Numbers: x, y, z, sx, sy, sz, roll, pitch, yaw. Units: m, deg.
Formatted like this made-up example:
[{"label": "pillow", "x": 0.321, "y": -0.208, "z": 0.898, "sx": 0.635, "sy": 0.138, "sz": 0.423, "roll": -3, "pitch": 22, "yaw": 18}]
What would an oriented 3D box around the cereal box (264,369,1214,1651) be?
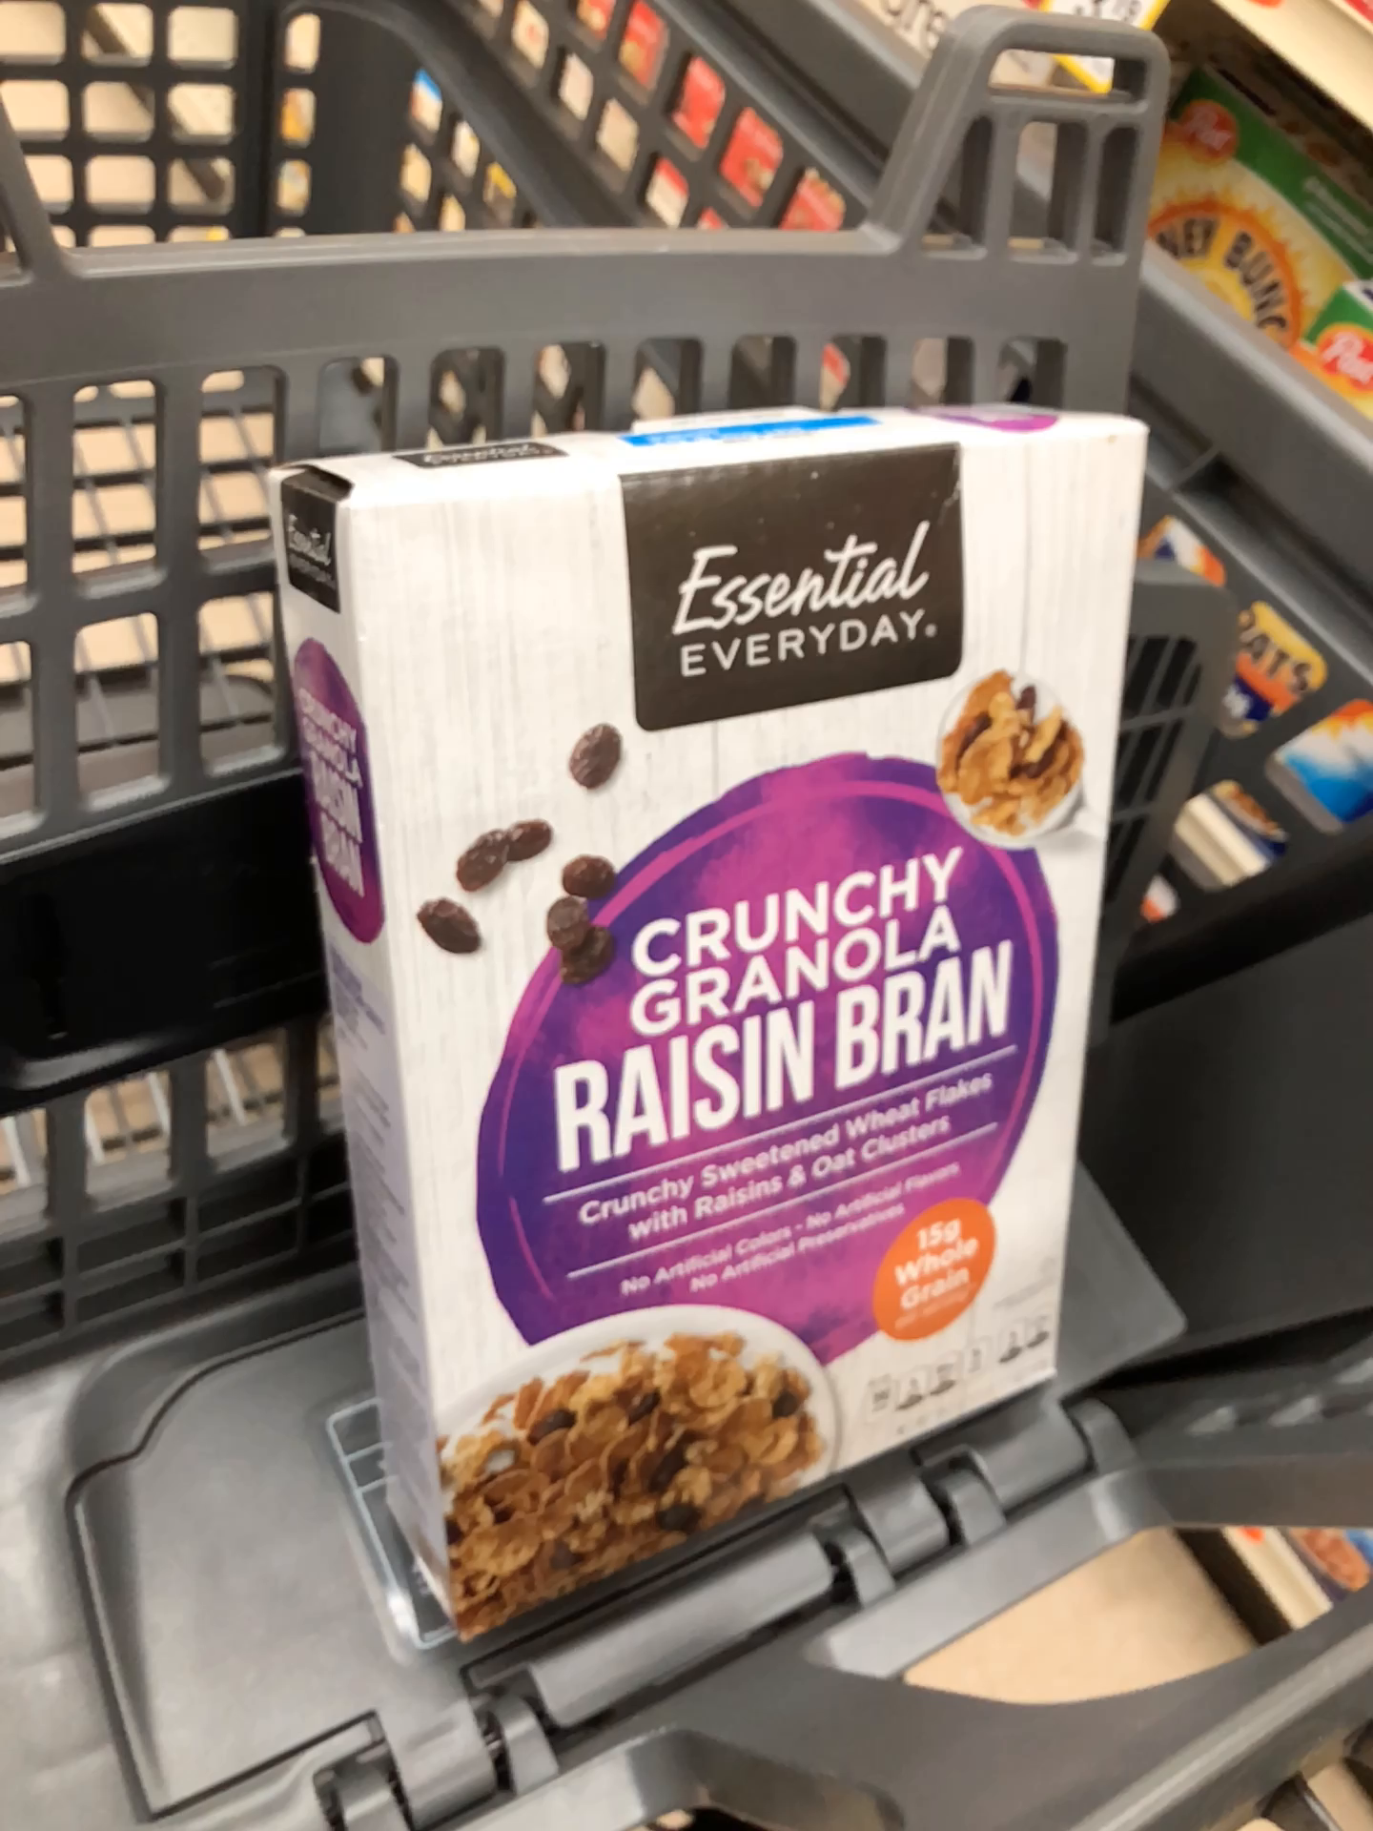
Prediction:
[{"label": "cereal box", "x": 0.019, "y": 0.016, "z": 0.388, "sx": 0.200, "sy": 0.280, "sz": 0.070, "roll": -14, "pitch": 26, "yaw": -27}]
